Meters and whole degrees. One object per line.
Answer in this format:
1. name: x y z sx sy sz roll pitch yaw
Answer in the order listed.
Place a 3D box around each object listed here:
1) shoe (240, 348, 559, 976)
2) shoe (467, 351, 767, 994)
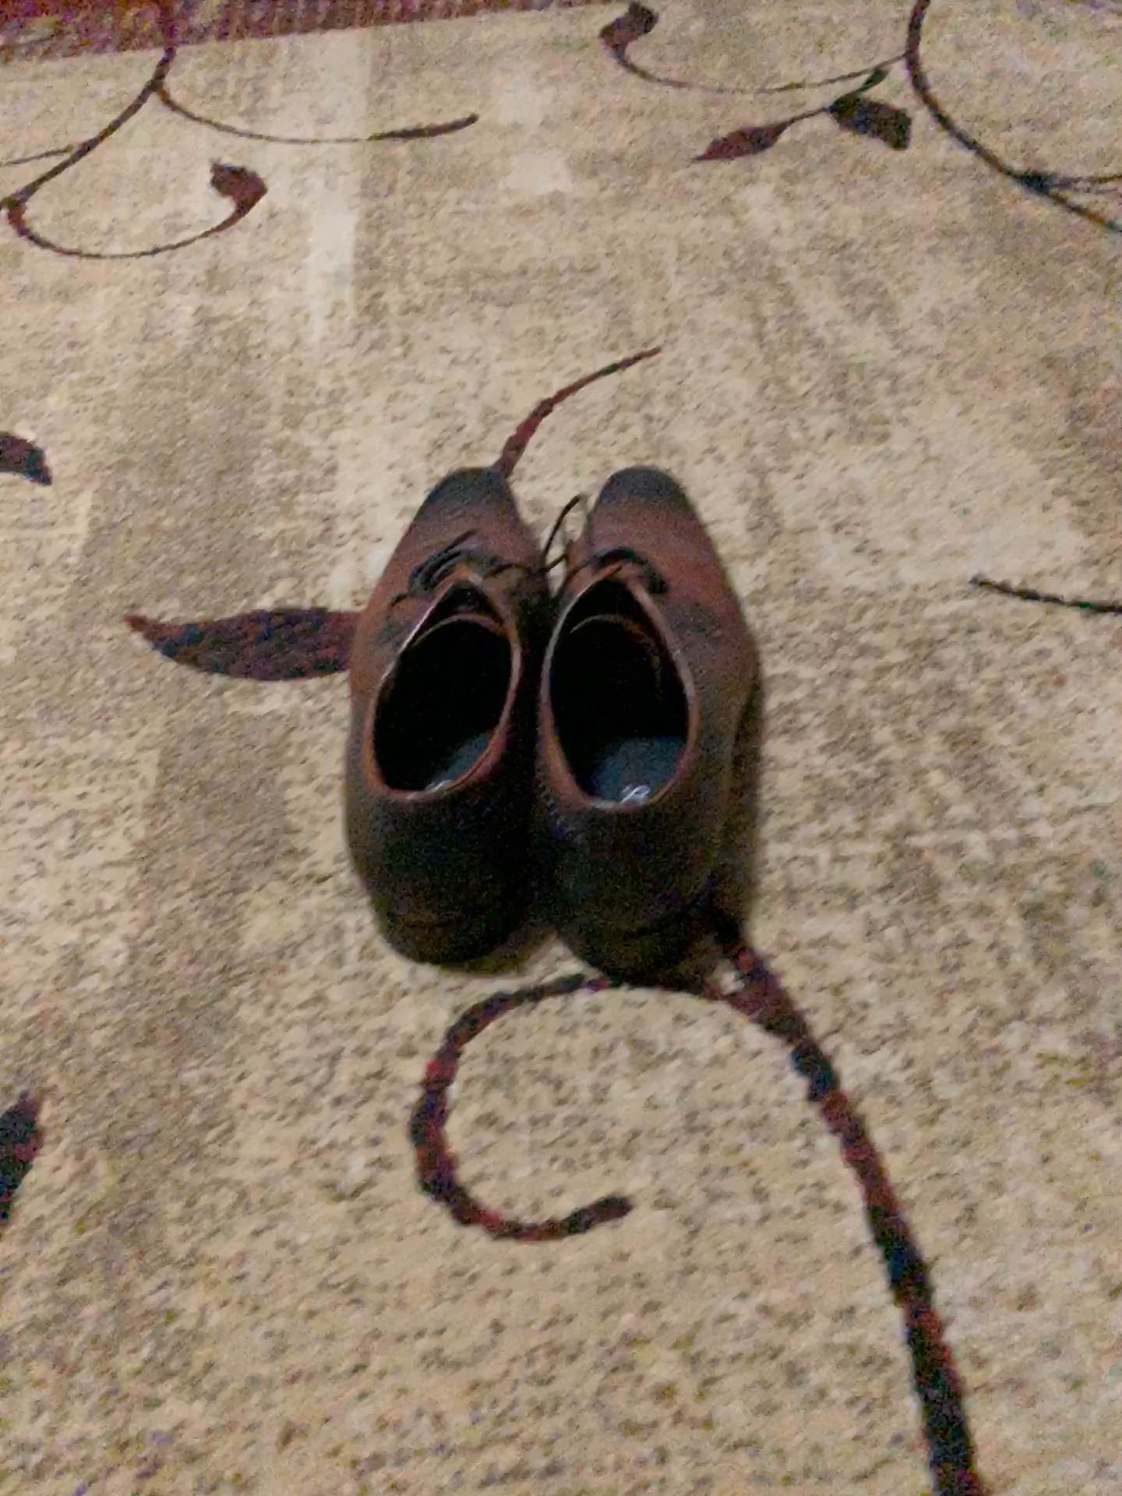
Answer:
1. shoe: -0.054 -0.051 0.512 0.095 0.115 0.276 -2 48 3
2. shoe: 0.035 -0.047 0.500 0.095 0.115 0.276 2 49 7
